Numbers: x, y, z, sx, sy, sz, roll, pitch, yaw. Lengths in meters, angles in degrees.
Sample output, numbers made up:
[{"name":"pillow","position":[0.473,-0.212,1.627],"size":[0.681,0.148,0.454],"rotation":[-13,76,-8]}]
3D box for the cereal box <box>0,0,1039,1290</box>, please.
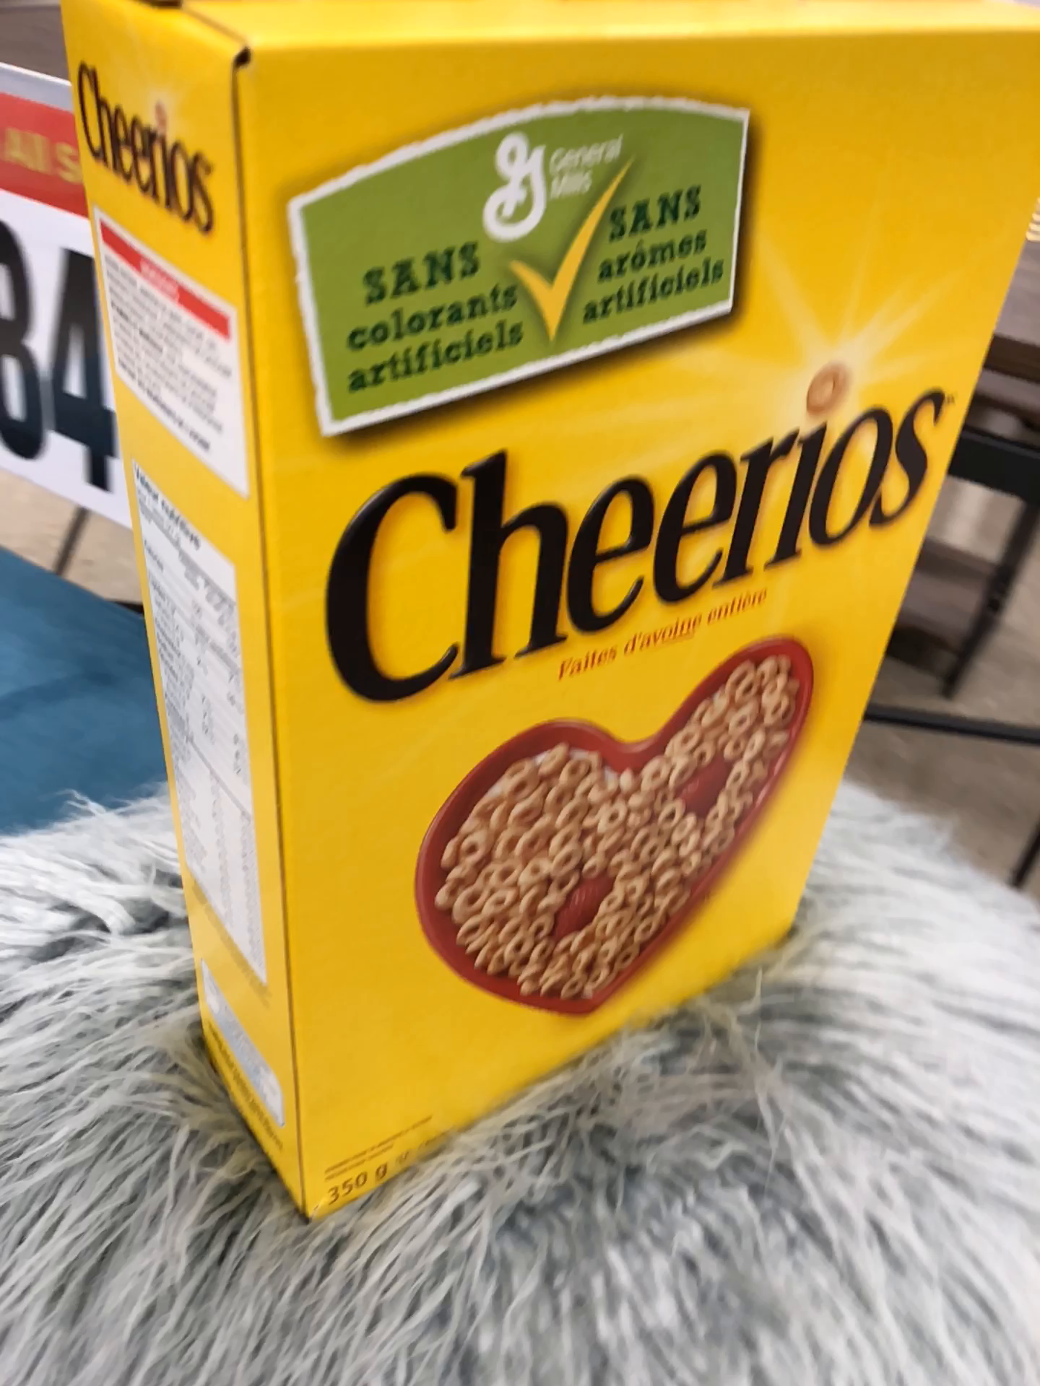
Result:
[{"name":"cereal box","position":[0.002,-0.016,0.298],"size":[0.211,0.289,0.080],"rotation":[-21,44,-35]}]
